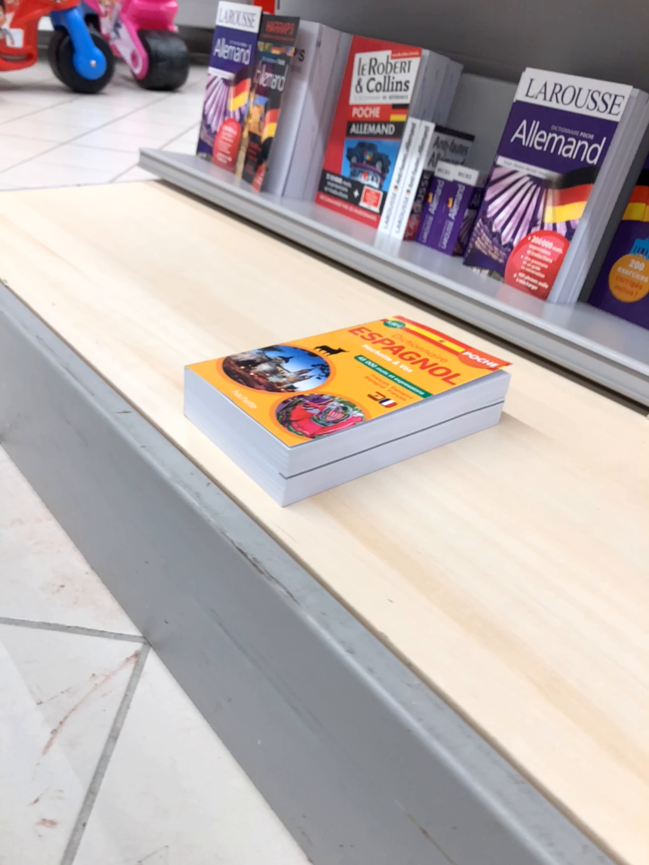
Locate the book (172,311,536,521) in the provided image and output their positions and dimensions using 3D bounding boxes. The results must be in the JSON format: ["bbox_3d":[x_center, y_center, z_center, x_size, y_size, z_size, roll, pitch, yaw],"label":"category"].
[{"bbox_3d":[0.020,-0.022,0.444,0.191,0.040,0.117,-17,37,-34],"label":"book"}]
